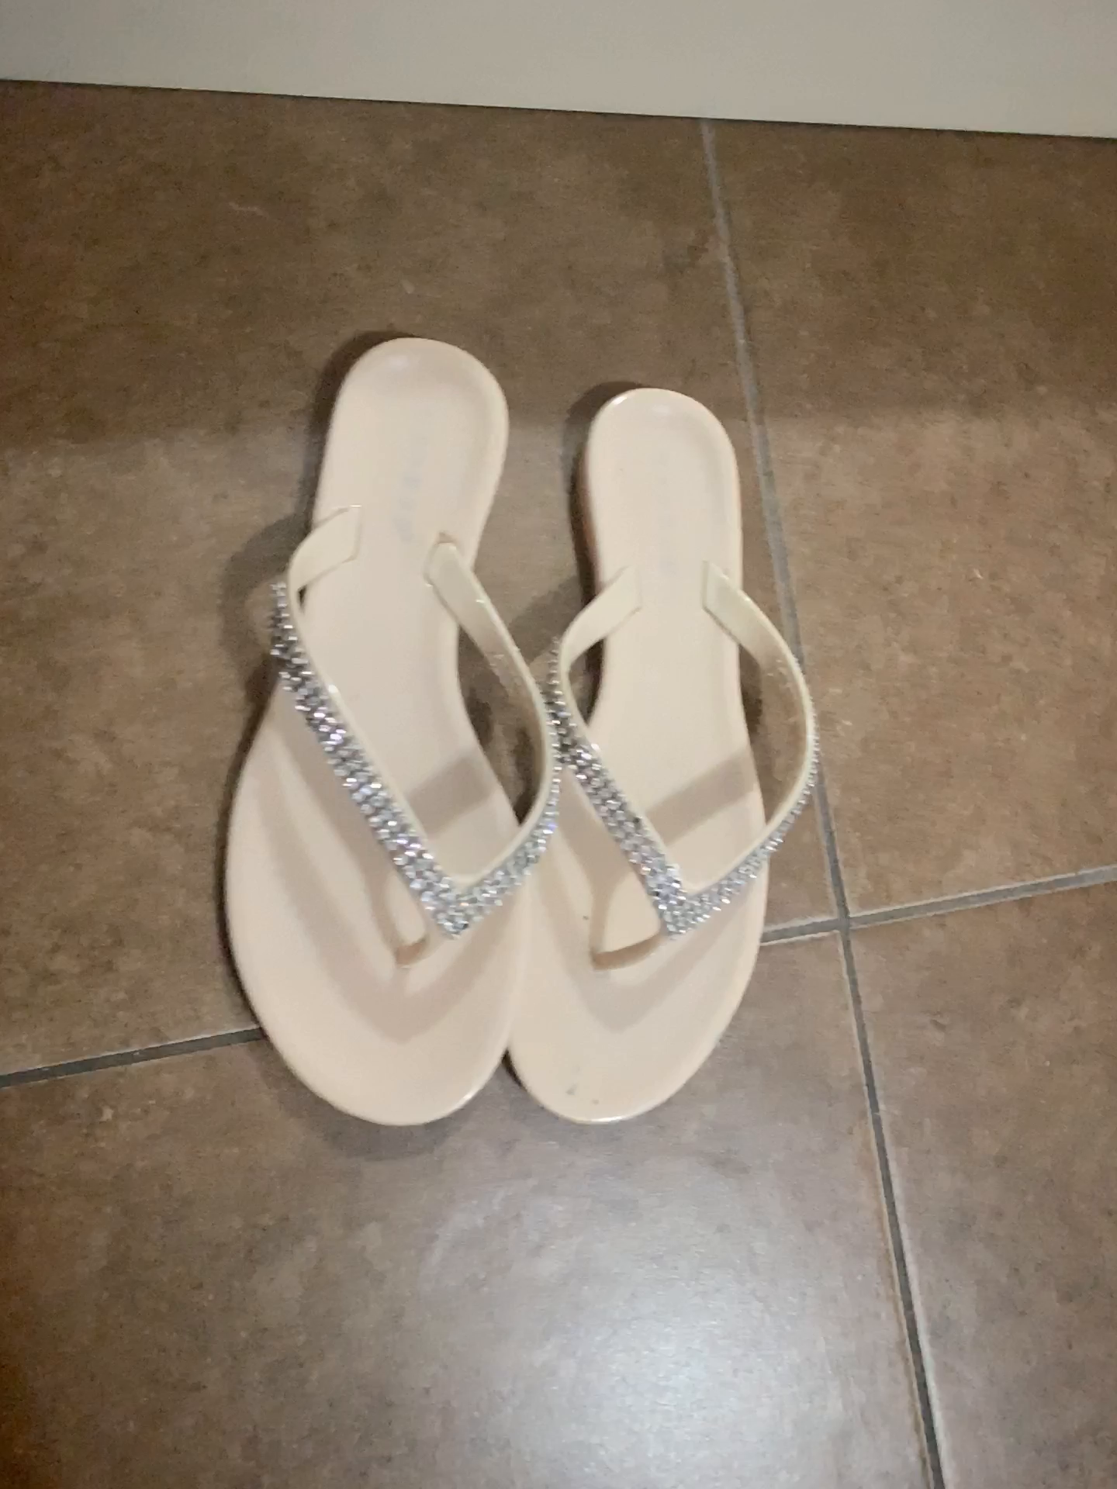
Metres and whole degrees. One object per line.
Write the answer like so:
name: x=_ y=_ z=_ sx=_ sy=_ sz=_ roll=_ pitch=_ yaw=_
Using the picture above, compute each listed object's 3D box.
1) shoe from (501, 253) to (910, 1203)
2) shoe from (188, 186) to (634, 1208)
shoe: x=0.043 y=-0.003 z=0.339 sx=0.091 sy=0.067 sz=0.249 roll=6 pitch=81 yaw=-15
shoe: x=-0.040 y=-0.011 z=0.317 sx=0.093 sy=0.067 sz=0.249 roll=6 pitch=81 yaw=-15
